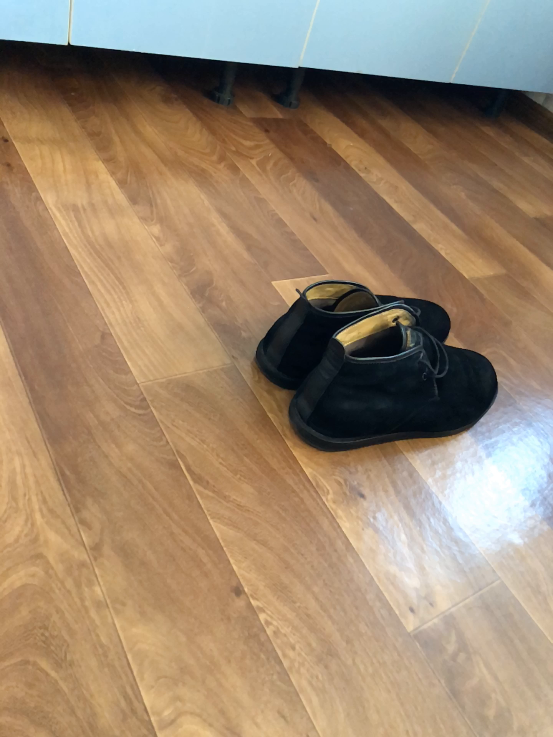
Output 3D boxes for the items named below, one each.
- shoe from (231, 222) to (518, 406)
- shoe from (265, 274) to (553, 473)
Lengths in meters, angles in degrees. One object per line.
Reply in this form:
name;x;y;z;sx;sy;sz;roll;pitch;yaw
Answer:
shoe;0.113;-0.072;0.688;0.291;0.129;0.110;-13;52;-33
shoe;0.155;-0.005;0.623;0.291;0.129;0.110;-8;49;-30
